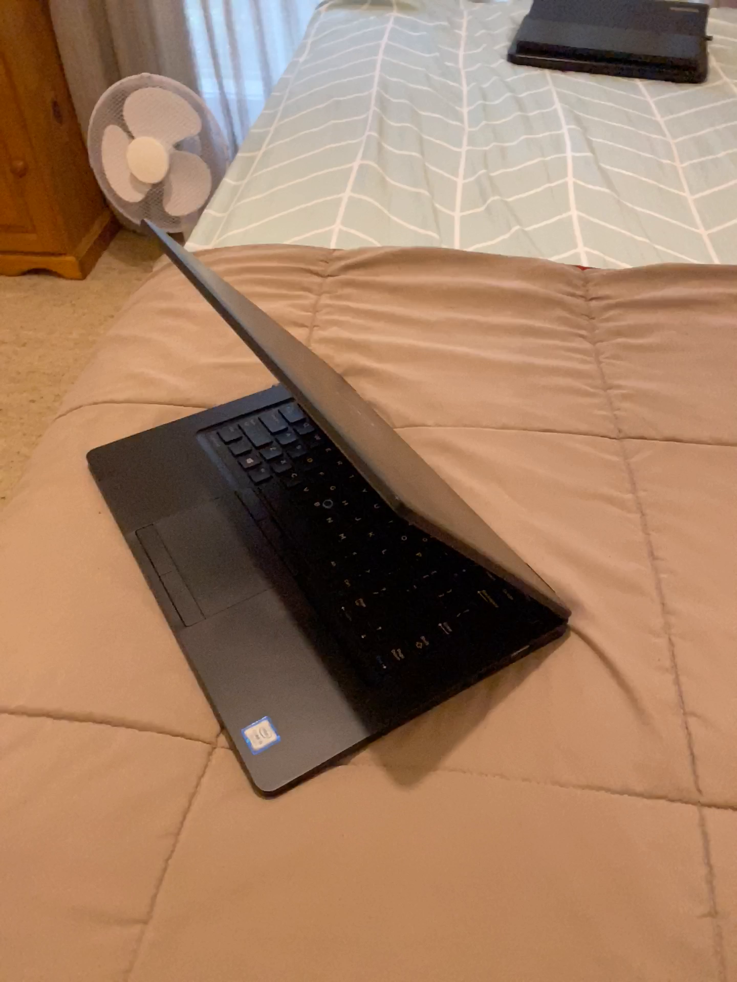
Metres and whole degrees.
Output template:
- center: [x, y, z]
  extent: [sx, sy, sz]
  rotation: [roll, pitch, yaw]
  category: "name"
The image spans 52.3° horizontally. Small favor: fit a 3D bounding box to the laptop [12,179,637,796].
- center: [-0.050, -0.035, 0.497]
  extent: [0.227, 0.183, 0.335]
  rotation: [-23, 49, -22]
  category: "laptop"
